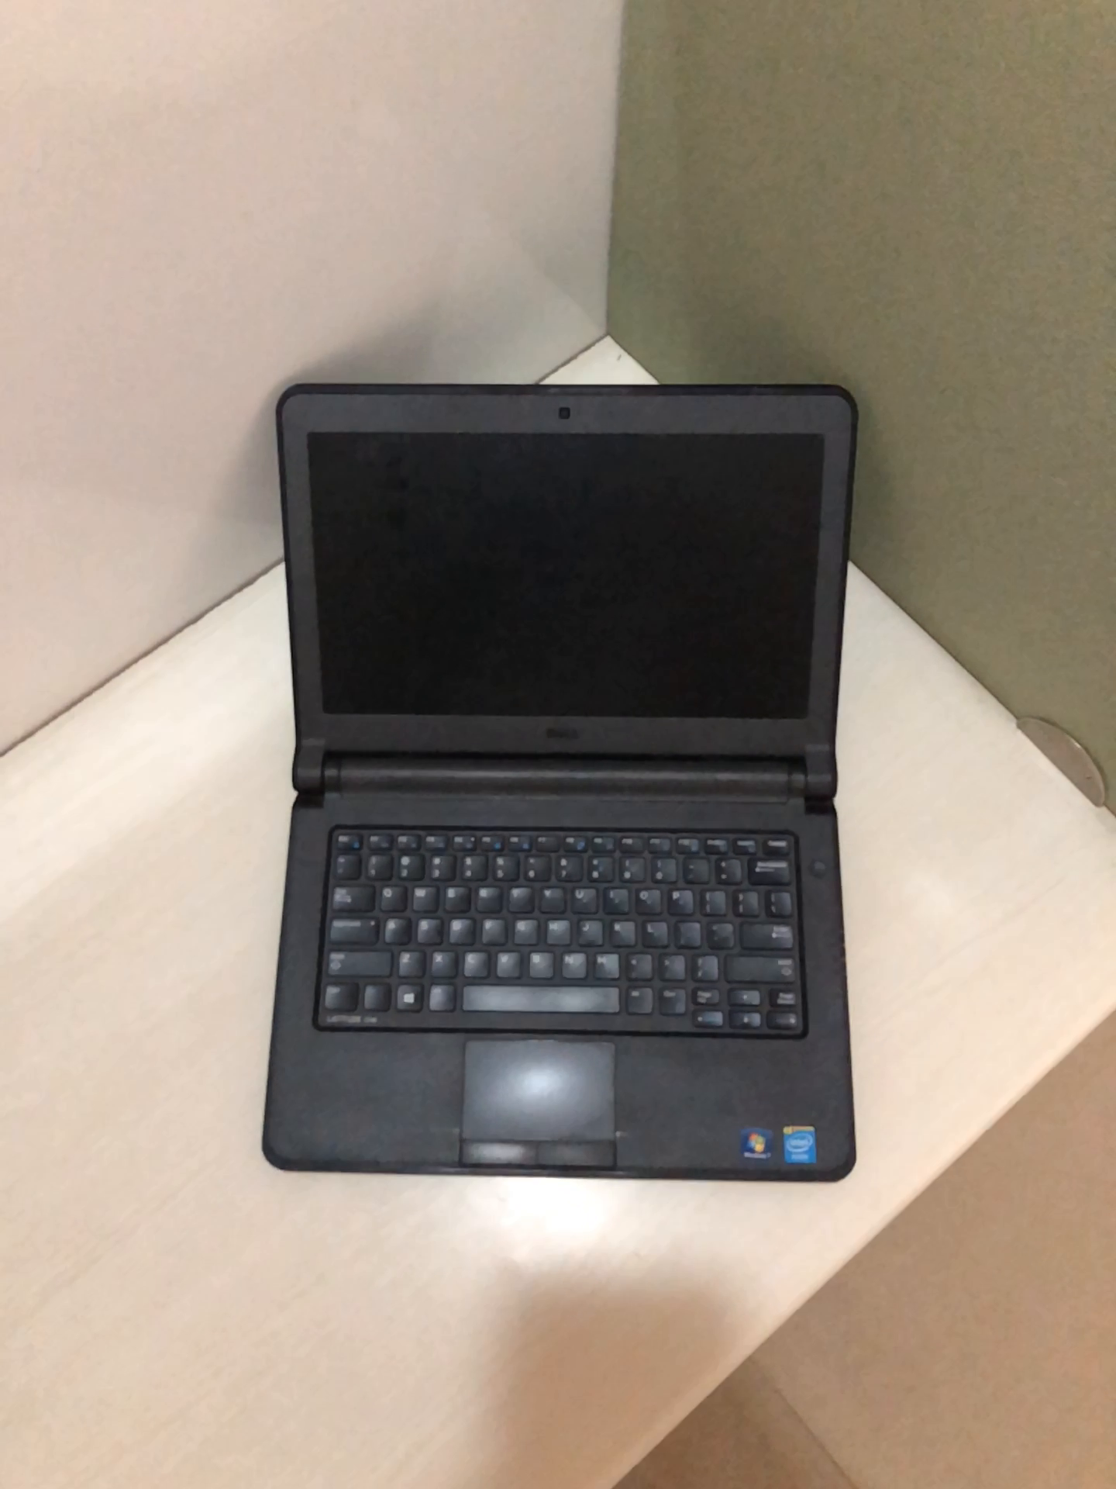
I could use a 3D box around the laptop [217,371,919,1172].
[{"bbox_3d":[0.009,0.012,0.660,0.309,0.128,0.395,1,72,3],"label":"laptop"}]
